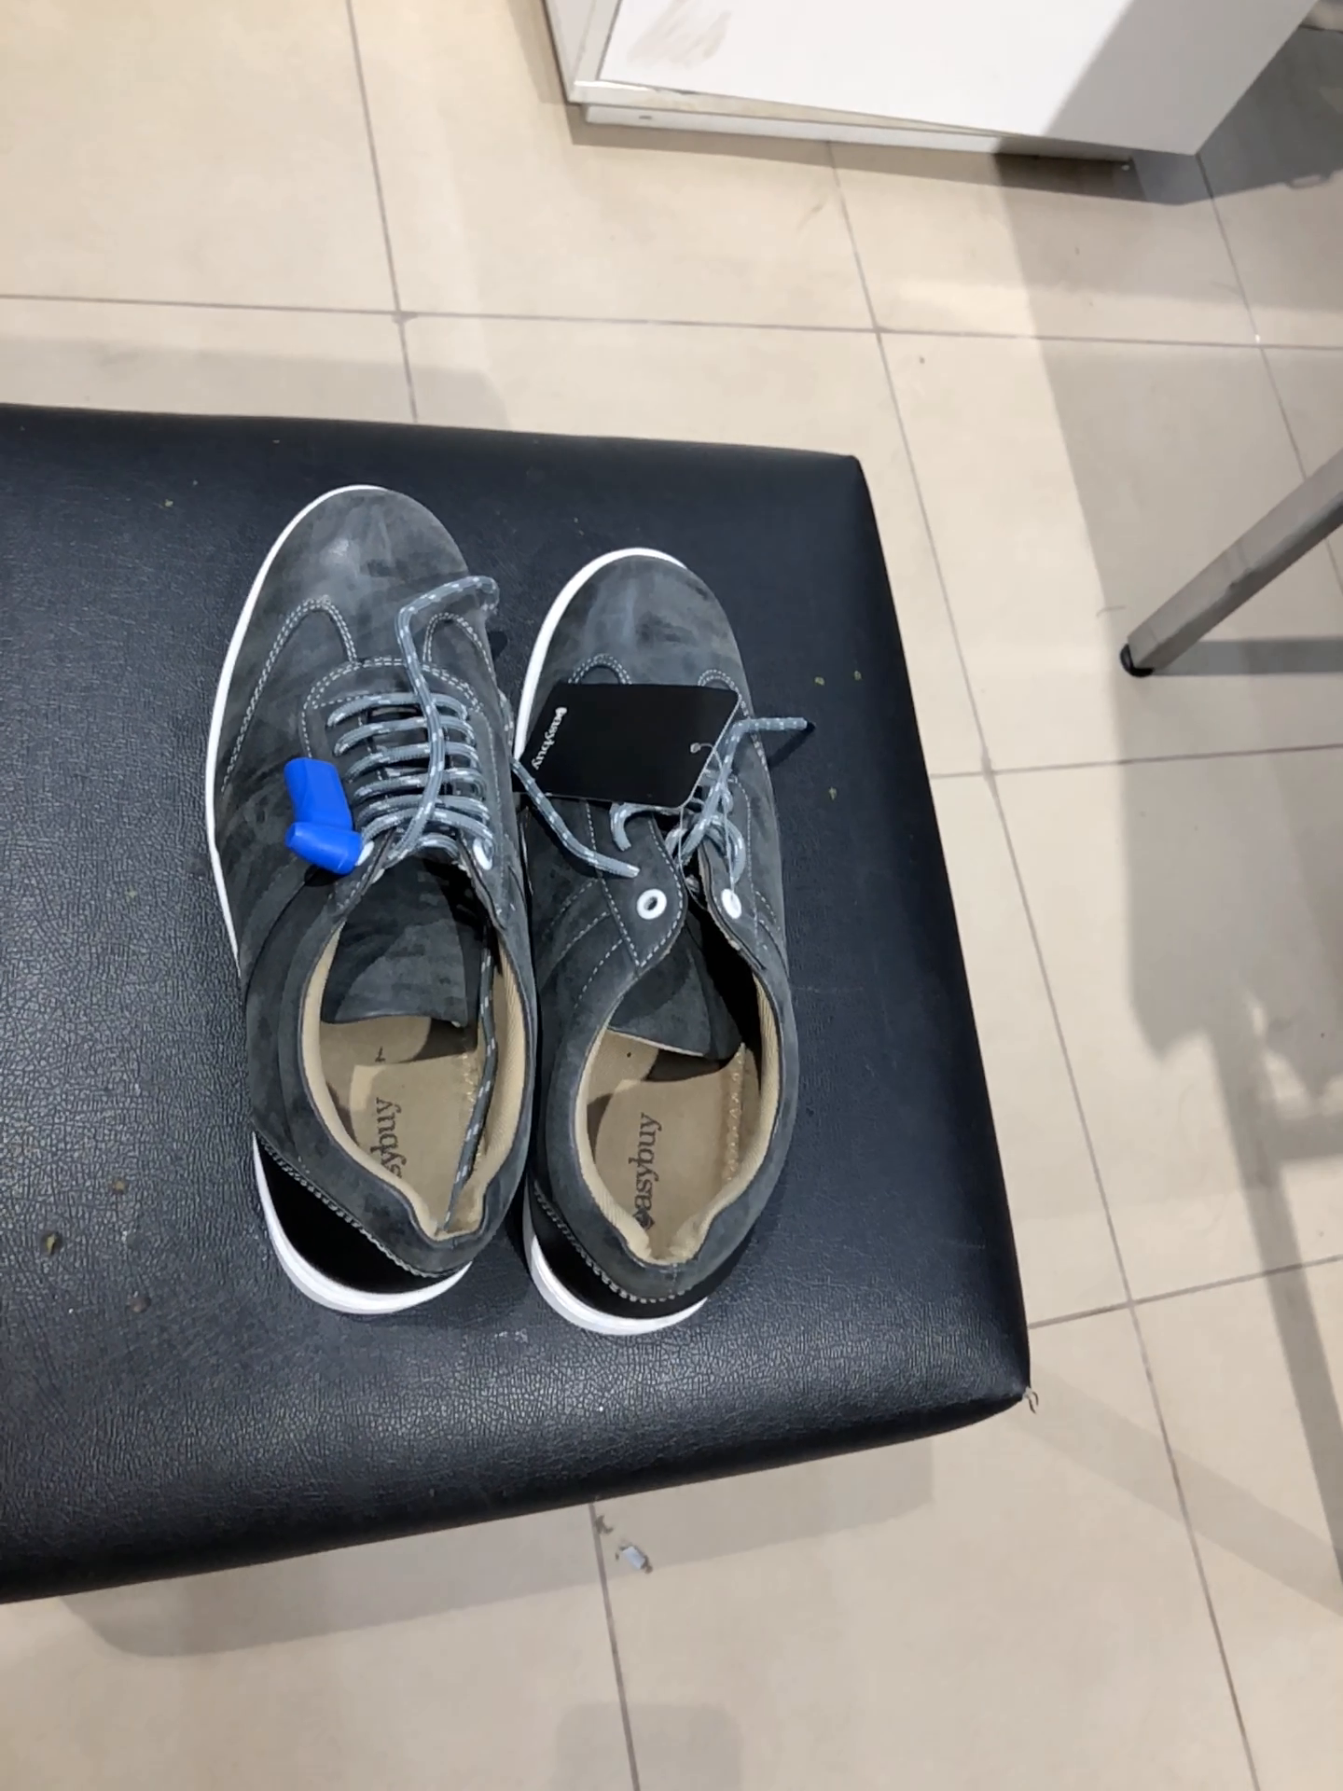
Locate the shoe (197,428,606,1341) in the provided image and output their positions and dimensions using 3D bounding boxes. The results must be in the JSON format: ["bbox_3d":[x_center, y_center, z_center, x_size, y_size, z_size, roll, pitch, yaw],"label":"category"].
[{"bbox_3d":[-0.091,0.000,0.454,0.101,0.107,0.249,0,72,-18],"label":"shoe"}]

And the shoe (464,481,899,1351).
[{"bbox_3d":[0.001,0.013,0.475,0.101,0.107,0.249,7,70,-15],"label":"shoe"}]
